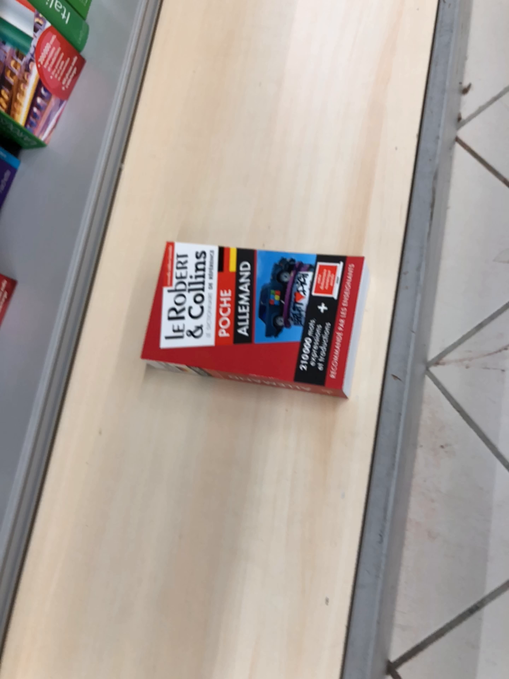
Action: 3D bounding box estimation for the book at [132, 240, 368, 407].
[{"bbox_3d":[-0.002,-0.015,0.466,0.170,0.050,0.110,7,78,18],"label":"book"}]
